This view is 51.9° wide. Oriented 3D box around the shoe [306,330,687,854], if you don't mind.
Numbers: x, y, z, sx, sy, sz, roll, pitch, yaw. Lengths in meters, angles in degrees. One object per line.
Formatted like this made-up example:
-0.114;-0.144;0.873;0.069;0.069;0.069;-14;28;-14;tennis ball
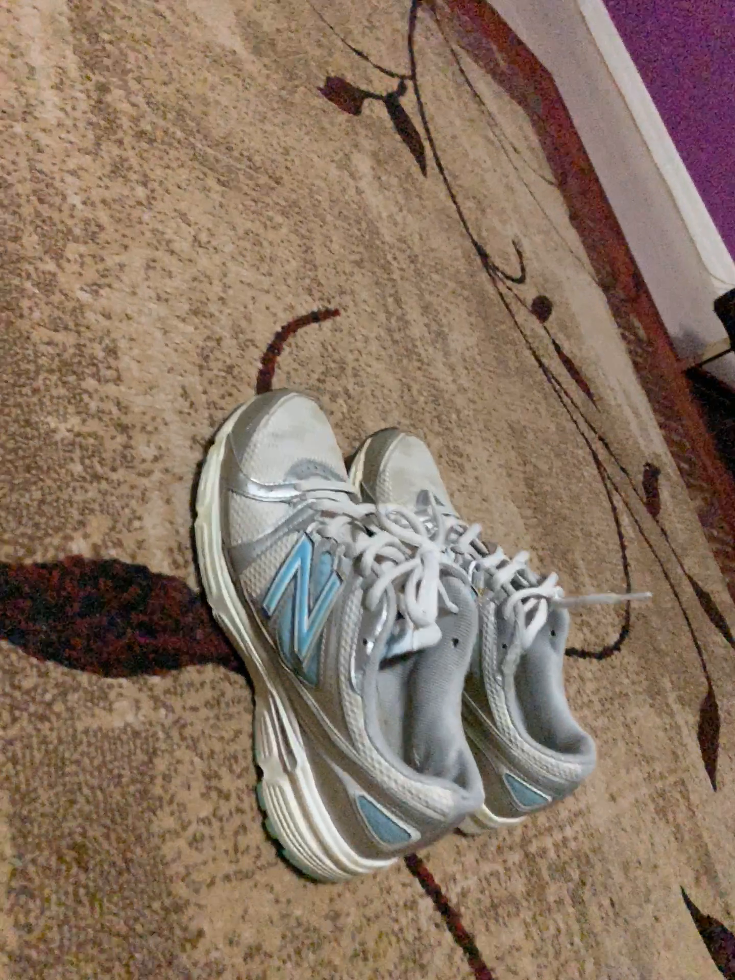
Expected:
0.074;0.060;0.487;0.104;0.124;0.283;6;62;-50;shoe

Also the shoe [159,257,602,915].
-0.004;0.045;0.399;0.111;0.124;0.283;8;60;-49;shoe
